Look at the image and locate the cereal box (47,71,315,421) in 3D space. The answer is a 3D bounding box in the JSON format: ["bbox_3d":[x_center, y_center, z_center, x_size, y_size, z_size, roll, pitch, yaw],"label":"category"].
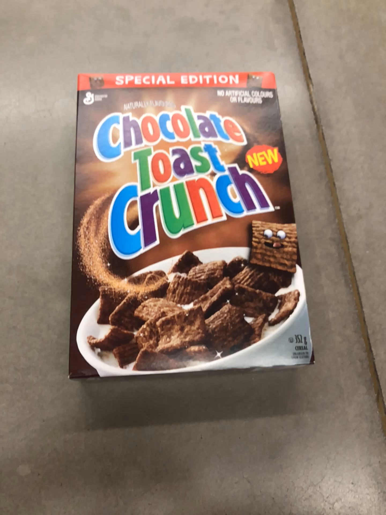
[{"bbox_3d":[-0.027,-0.029,0.395,0.190,0.070,0.311,-5,66,-8],"label":"cereal box"}]
